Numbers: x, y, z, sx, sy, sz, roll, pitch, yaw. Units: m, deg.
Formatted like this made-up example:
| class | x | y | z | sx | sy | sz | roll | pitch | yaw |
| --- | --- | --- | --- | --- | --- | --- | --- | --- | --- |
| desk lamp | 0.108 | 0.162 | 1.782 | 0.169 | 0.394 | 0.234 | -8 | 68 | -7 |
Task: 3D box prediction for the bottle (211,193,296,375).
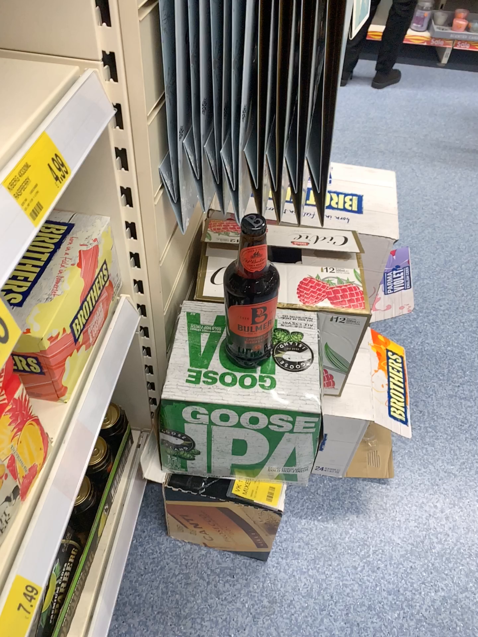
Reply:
| class | x | y | z | sx | sy | sz | roll | pitch | yaw |
| --- | --- | --- | --- | --- | --- | --- | --- | --- | --- |
| bottle | 0.013 | -0.034 | 0.625 | 0.070 | 0.234 | 0.071 | 1 | 48 | -1 |
